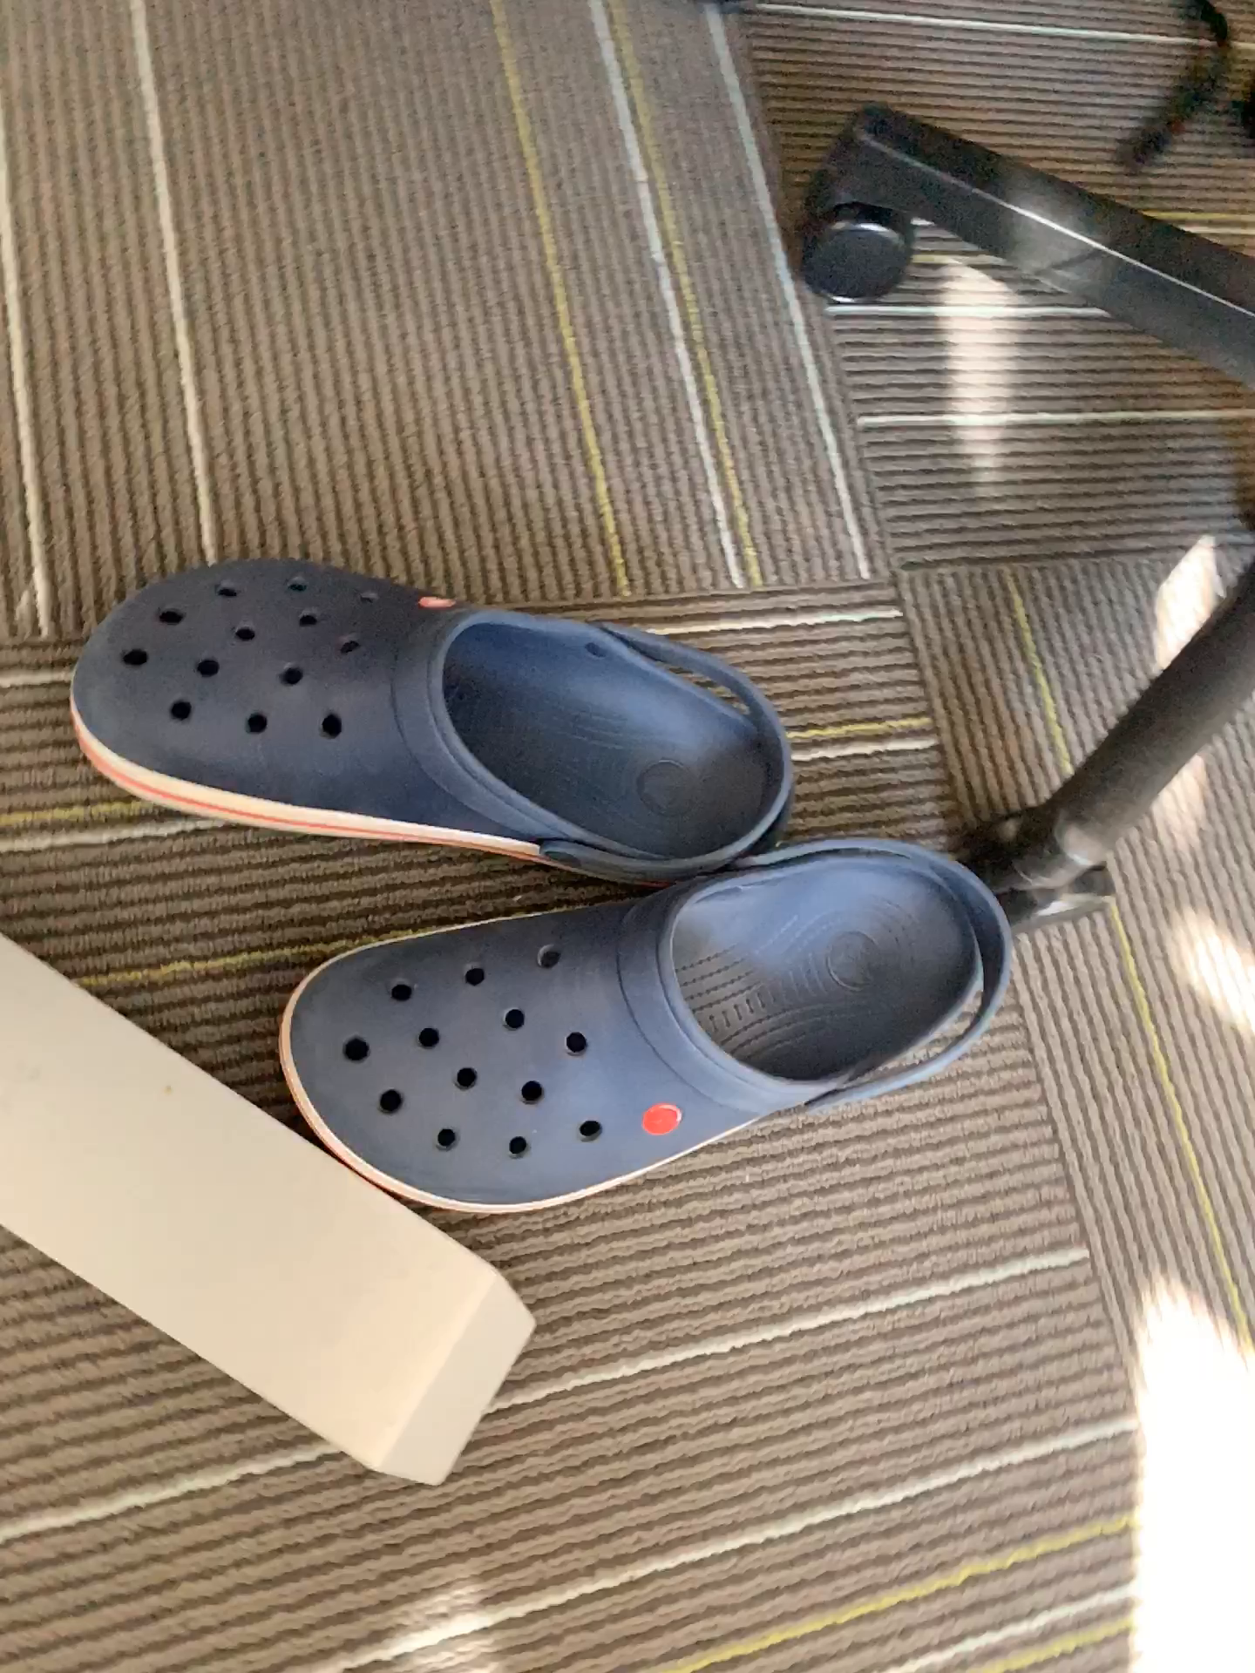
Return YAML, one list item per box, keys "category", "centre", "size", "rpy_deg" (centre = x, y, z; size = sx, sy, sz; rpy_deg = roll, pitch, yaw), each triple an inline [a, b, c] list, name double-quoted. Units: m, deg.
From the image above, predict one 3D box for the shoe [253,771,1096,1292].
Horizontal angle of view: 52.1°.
- category: "shoe"
  centre: [0.021, 0.076, 0.552]
  size: [0.330, 0.080, 0.130]
  rpy_deg: [-12, 77, -19]

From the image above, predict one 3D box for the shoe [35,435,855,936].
- category: "shoe"
  centre: [-0.068, -0.057, 0.567]
  size: [0.320, 0.080, 0.130]
  rpy_deg: [12, 70, -12]
